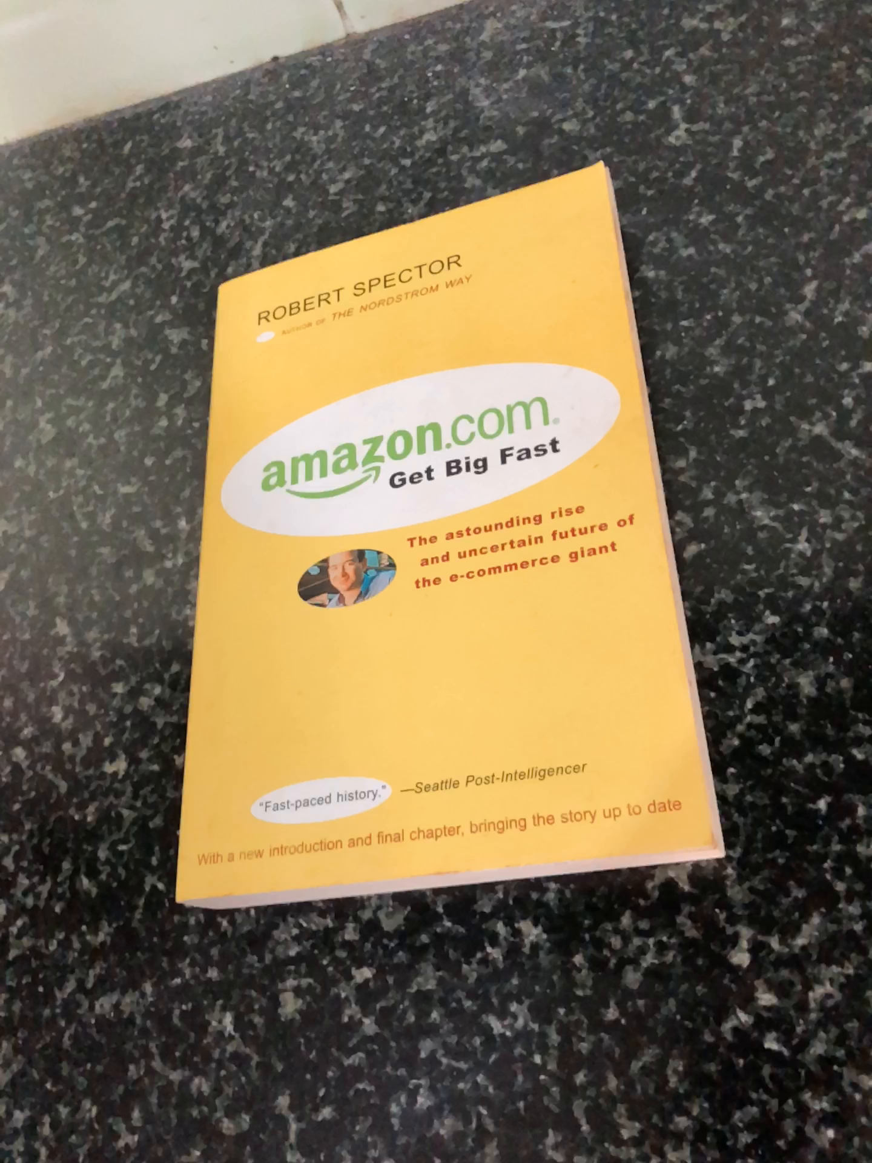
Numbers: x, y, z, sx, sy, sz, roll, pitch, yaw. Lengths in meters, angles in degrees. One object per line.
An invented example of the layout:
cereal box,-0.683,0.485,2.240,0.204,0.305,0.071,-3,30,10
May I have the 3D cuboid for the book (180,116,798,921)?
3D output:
book,0.005,-0.023,0.272,0.140,0.030,0.210,-11,62,17
